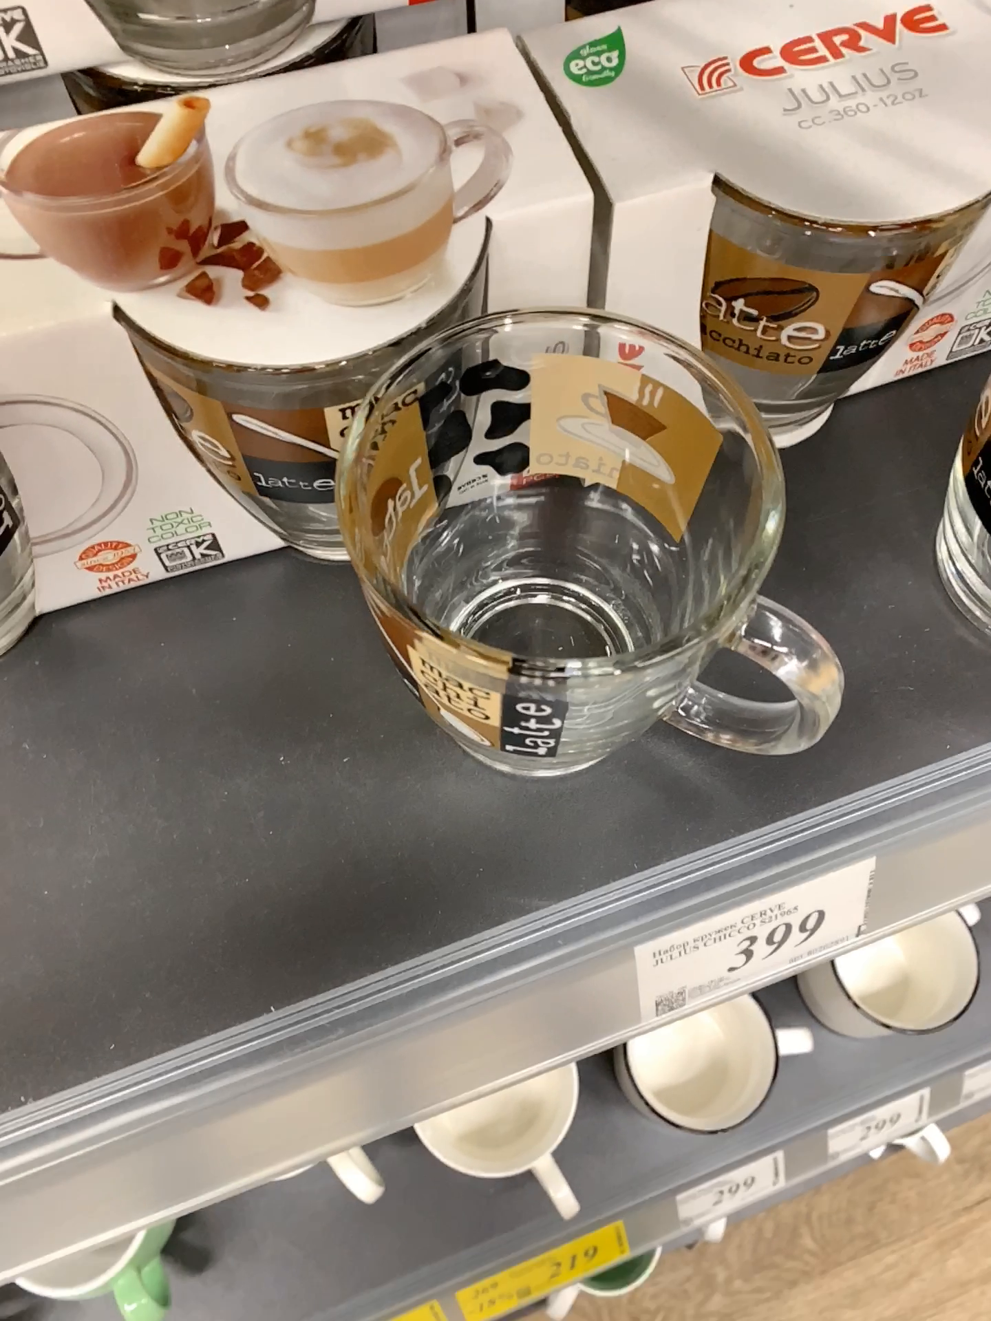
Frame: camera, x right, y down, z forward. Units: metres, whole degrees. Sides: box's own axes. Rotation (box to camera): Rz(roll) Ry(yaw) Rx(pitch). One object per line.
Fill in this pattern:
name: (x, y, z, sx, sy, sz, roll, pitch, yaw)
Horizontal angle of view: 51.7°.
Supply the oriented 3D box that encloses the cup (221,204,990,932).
cup: (0.022, -0.017, 0.228, 0.118, 0.086, 0.084, 32, 69, 14)
